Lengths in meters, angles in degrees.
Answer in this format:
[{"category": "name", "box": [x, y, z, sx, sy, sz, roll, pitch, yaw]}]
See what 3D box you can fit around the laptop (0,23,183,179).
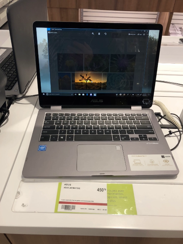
[{"category": "laptop", "box": [0.022, -0.066, 0.449, 0.319, 0.211, 0.291, -1, 41, -4]}]
